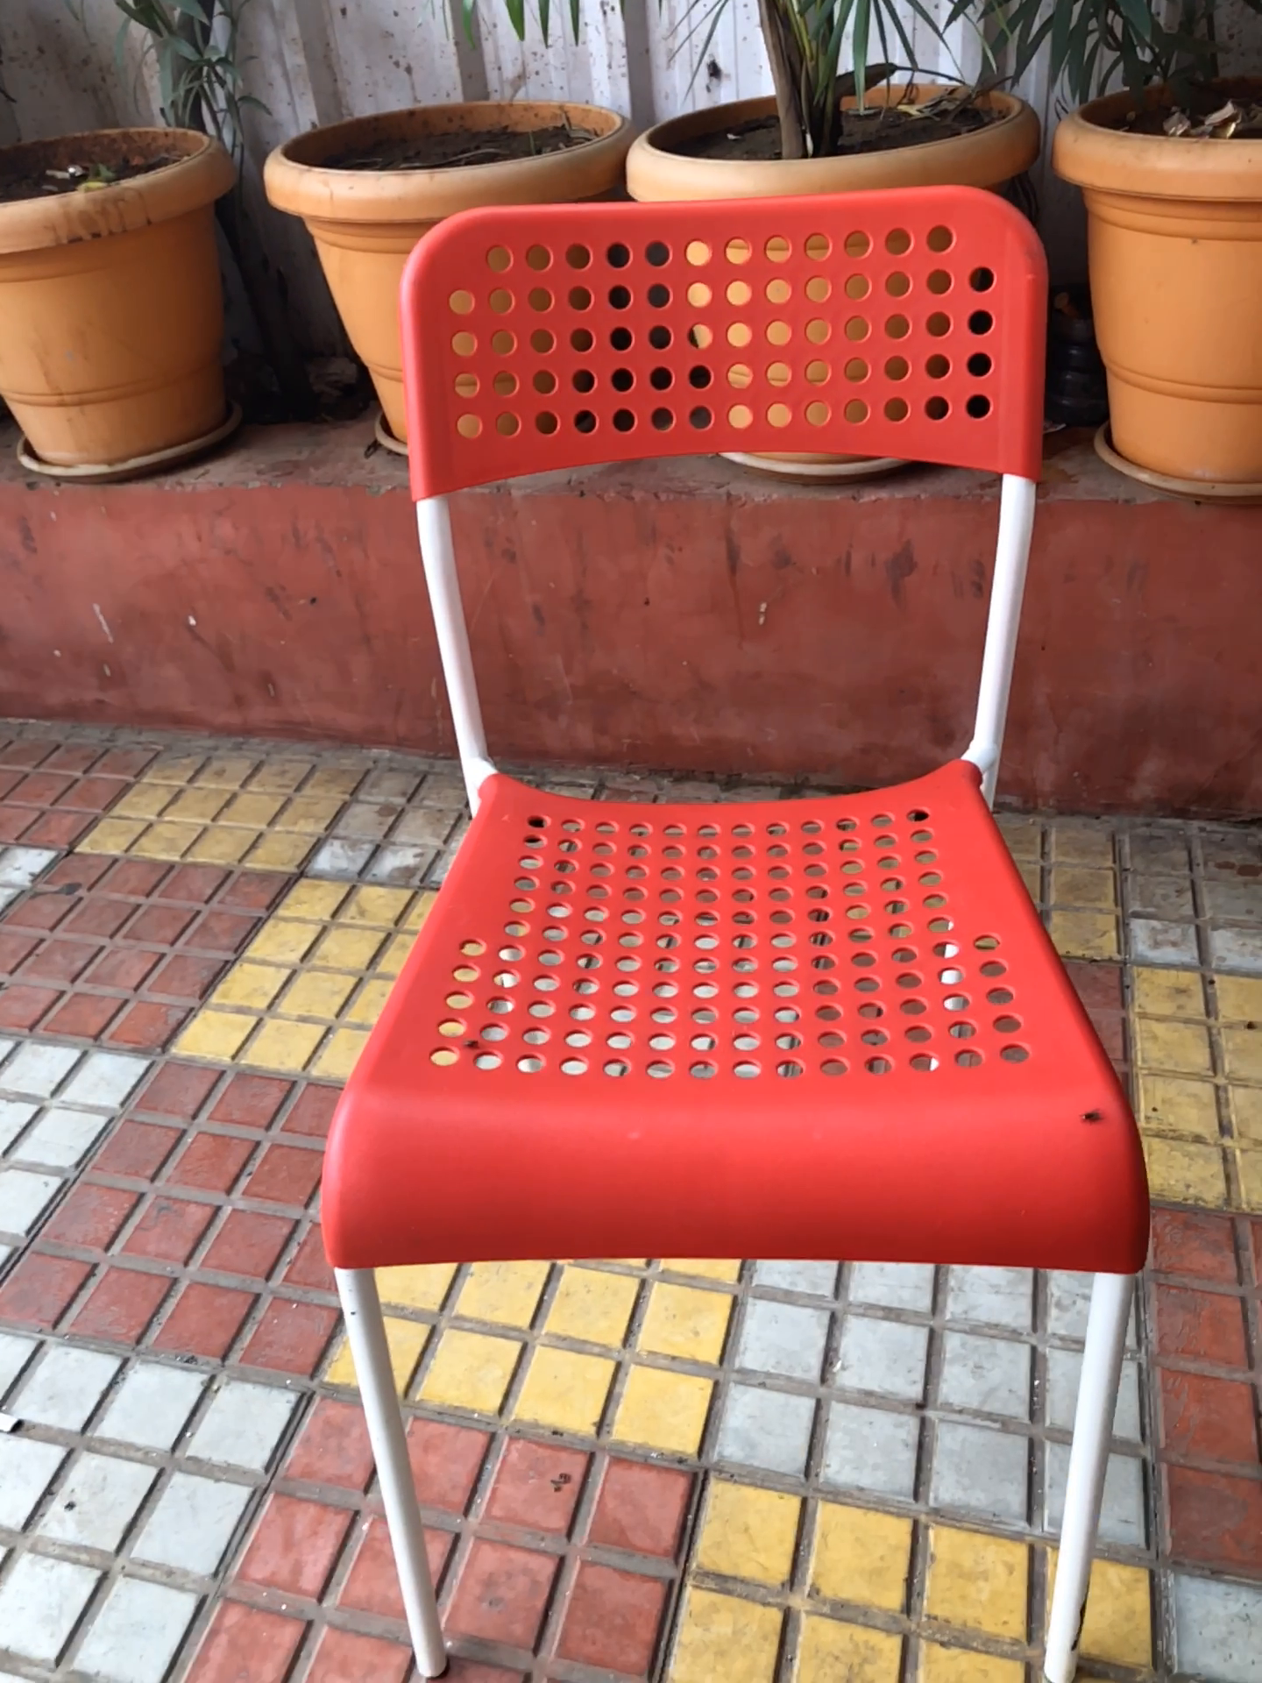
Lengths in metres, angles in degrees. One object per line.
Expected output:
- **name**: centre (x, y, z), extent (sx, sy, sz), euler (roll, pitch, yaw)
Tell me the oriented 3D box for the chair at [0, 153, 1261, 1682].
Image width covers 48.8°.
- **chair**: centre (0.036, 0.041, 0.811), extent (0.450, 0.695, 0.544), euler (-1, 36, 4)
